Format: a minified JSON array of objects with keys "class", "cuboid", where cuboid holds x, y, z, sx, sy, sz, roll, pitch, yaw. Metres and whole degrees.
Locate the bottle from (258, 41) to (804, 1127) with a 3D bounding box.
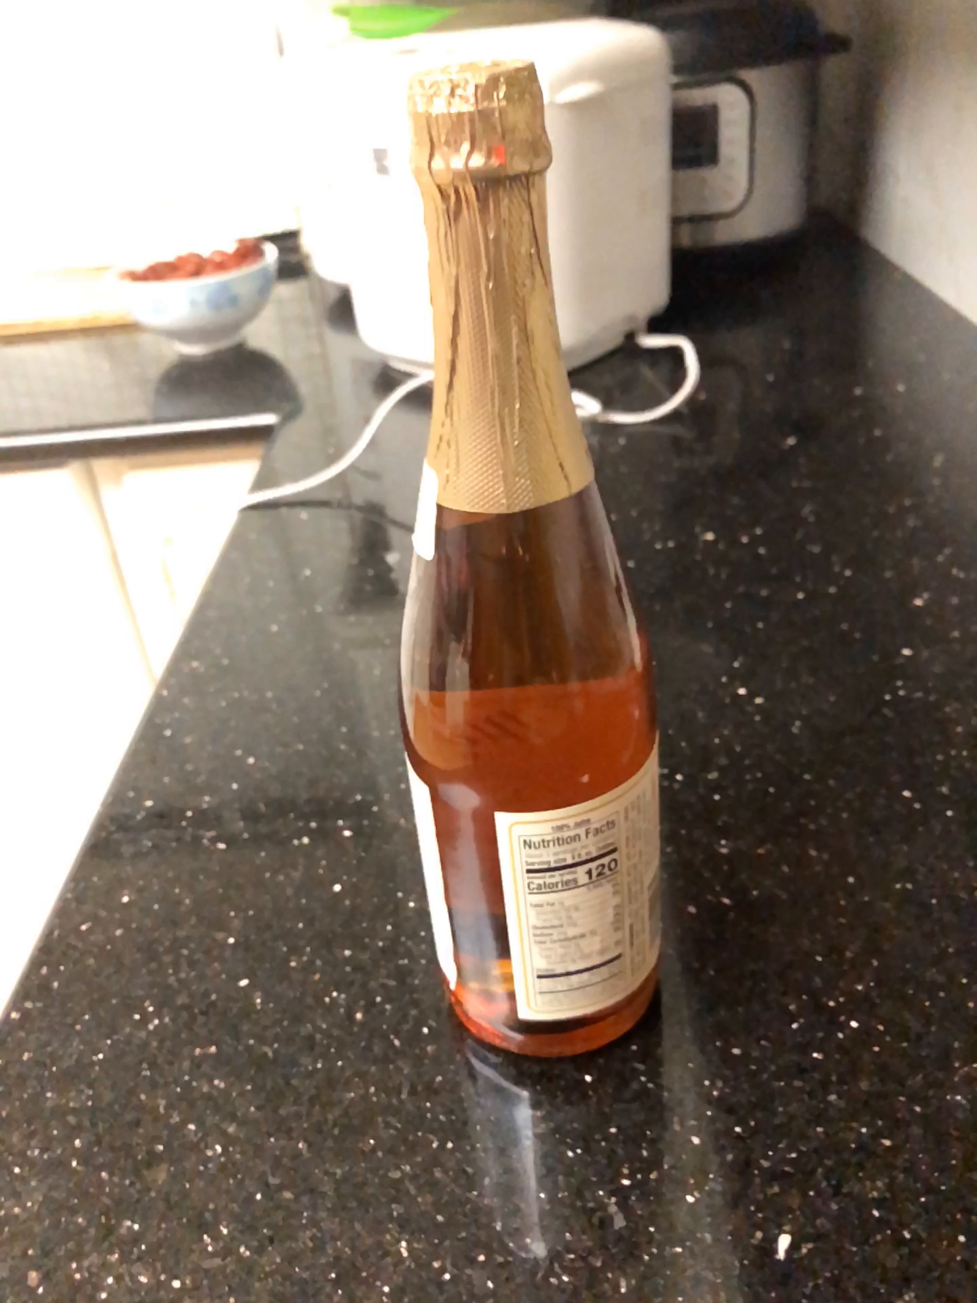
[{"class":"bottle","cuboid":[0.020,-0.006,0.324,0.090,0.298,0.090,-5,32,3]}]
